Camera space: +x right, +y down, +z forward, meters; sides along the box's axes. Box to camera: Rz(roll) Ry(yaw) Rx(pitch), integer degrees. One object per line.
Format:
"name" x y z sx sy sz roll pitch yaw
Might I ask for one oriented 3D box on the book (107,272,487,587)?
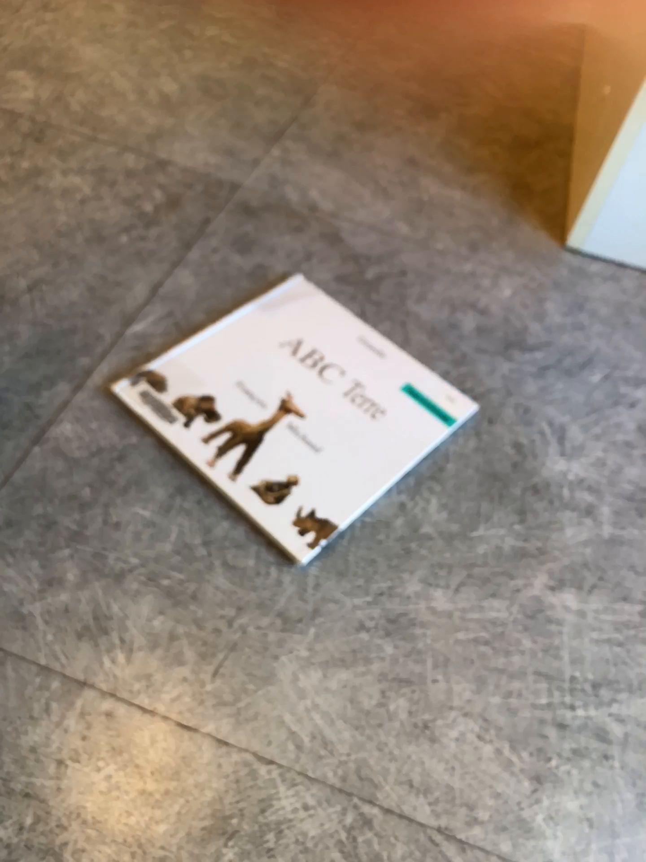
"book" -0.016 -0.018 0.536 0.200 0.020 0.195 39 56 20
